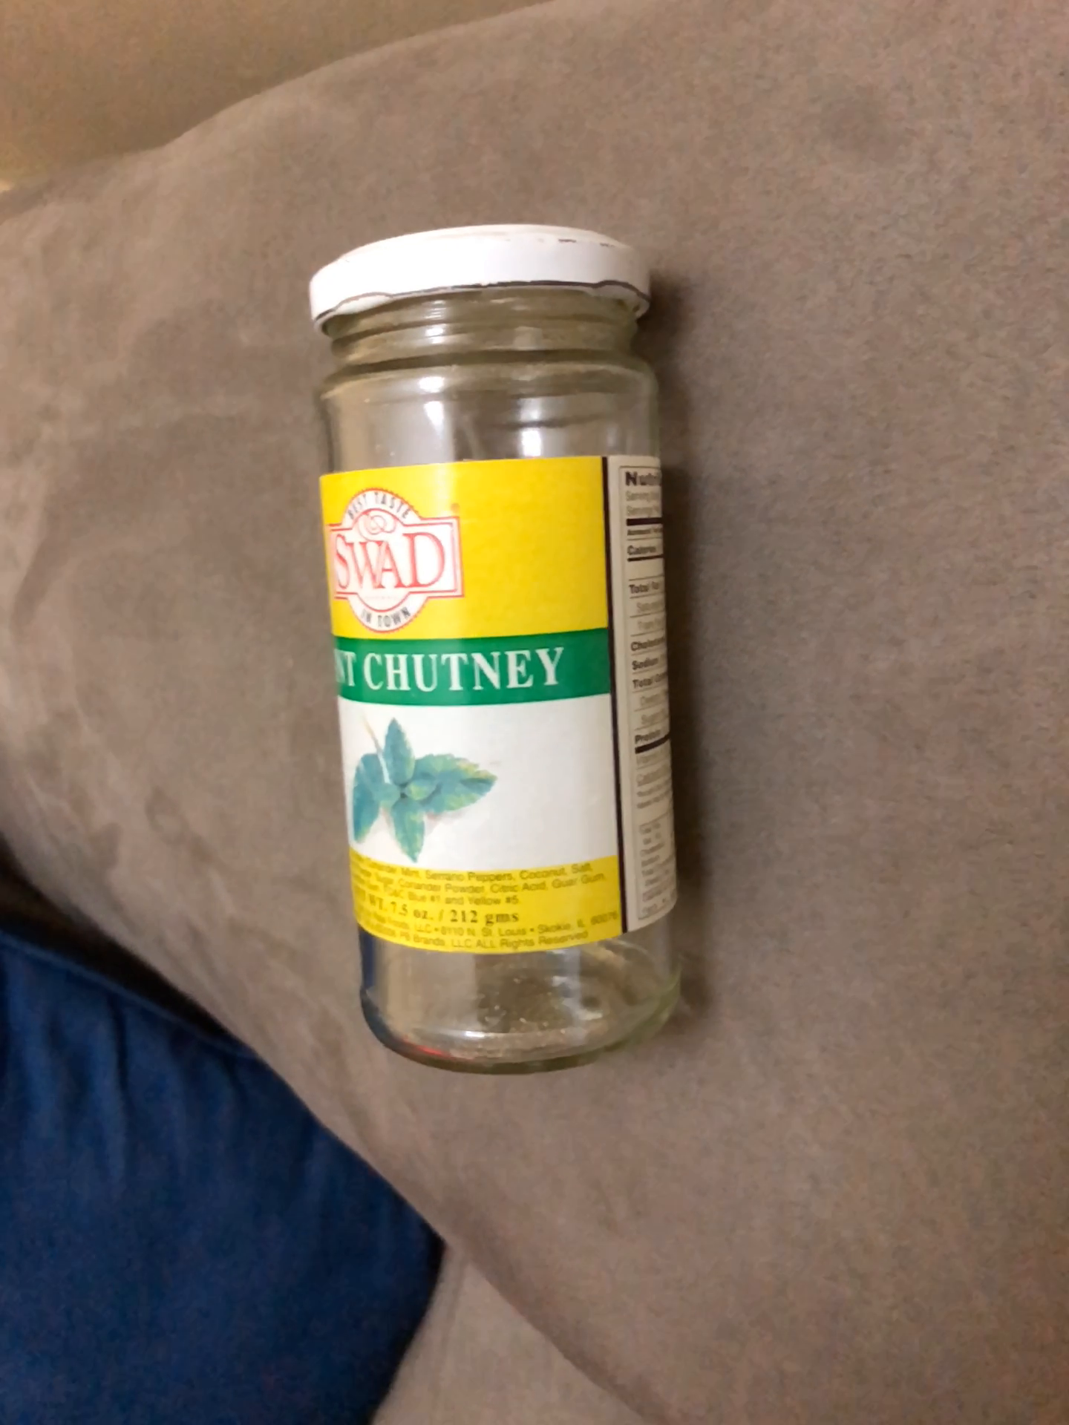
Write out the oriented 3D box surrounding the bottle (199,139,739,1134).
[{"bbox_3d":[-0.009,-0.012,0.207,0.060,0.059,0.137,6,102,44],"label":"bottle"}]
